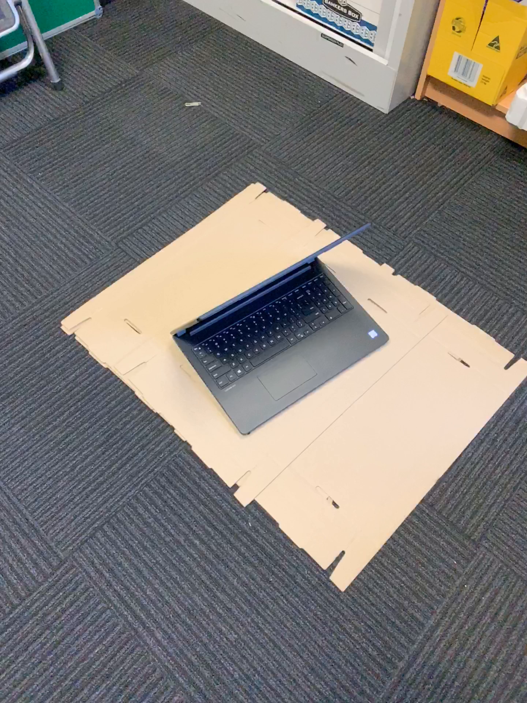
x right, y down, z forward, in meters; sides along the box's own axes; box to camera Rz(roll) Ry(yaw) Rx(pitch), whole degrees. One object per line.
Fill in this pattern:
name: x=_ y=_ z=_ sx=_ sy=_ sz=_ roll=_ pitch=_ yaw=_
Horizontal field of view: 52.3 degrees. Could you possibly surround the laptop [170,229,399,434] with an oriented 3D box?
laptop: x=0.039 y=-0.048 z=0.974 sx=0.341 sy=0.085 sz=0.221 roll=-31 pitch=67 yaw=-19
